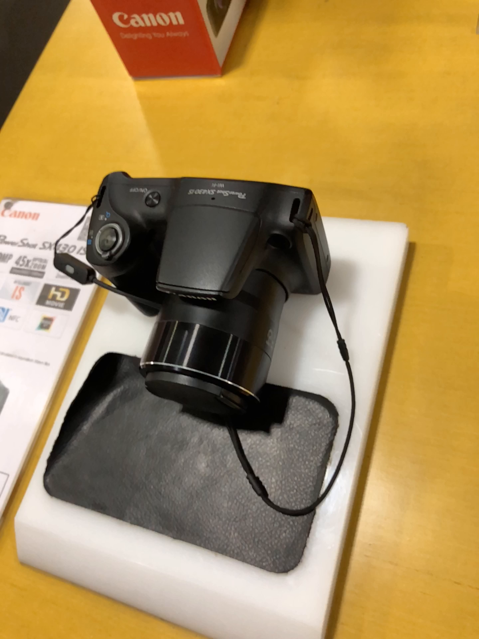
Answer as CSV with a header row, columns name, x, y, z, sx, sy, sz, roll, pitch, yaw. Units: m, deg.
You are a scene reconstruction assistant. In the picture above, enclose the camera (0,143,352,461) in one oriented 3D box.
name,x,y,z,sx,sy,sz,roll,pitch,yaw
camera,-0.020,-0.006,0.227,0.110,0.090,0.090,9,69,21
